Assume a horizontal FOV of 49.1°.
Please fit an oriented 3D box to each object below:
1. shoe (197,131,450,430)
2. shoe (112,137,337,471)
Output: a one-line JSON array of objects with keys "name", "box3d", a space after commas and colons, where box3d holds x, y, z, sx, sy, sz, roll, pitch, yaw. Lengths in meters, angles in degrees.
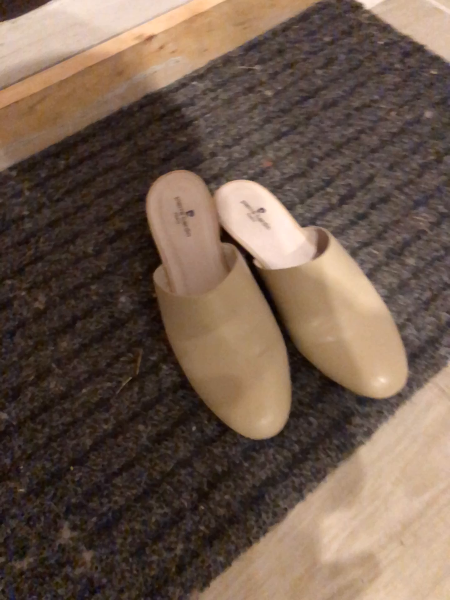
[{"name": "shoe", "box3d": [0.080, -0.026, 0.429, 0.090, 0.070, 0.251, -29, 65, -14]}, {"name": "shoe", "box3d": [-0.011, -0.008, 0.396, 0.090, 0.070, 0.251, -17, 63, -8]}]
